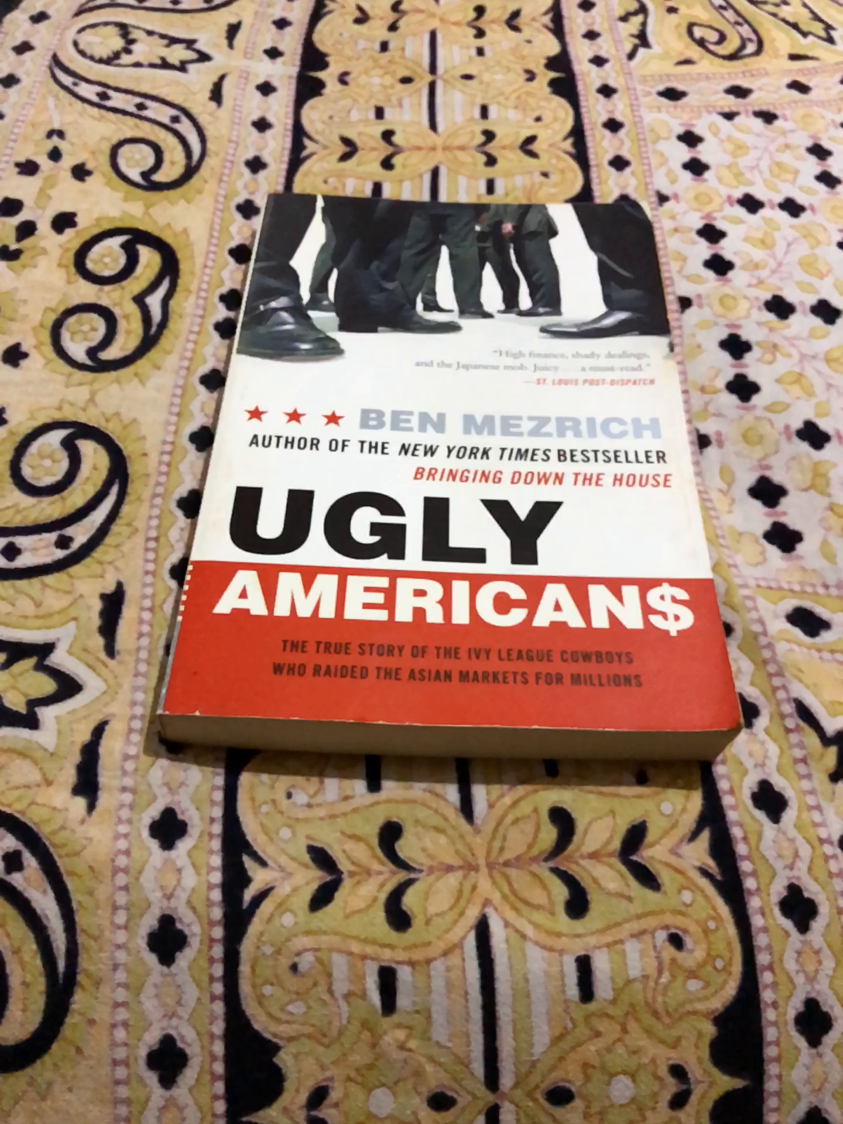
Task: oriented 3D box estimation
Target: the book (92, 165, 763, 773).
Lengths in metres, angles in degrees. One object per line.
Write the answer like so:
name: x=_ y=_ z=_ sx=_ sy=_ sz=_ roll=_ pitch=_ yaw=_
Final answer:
book: x=0.003 y=-0.039 z=0.263 sx=0.140 sy=0.030 sz=0.190 roll=1 pitch=56 yaw=1
